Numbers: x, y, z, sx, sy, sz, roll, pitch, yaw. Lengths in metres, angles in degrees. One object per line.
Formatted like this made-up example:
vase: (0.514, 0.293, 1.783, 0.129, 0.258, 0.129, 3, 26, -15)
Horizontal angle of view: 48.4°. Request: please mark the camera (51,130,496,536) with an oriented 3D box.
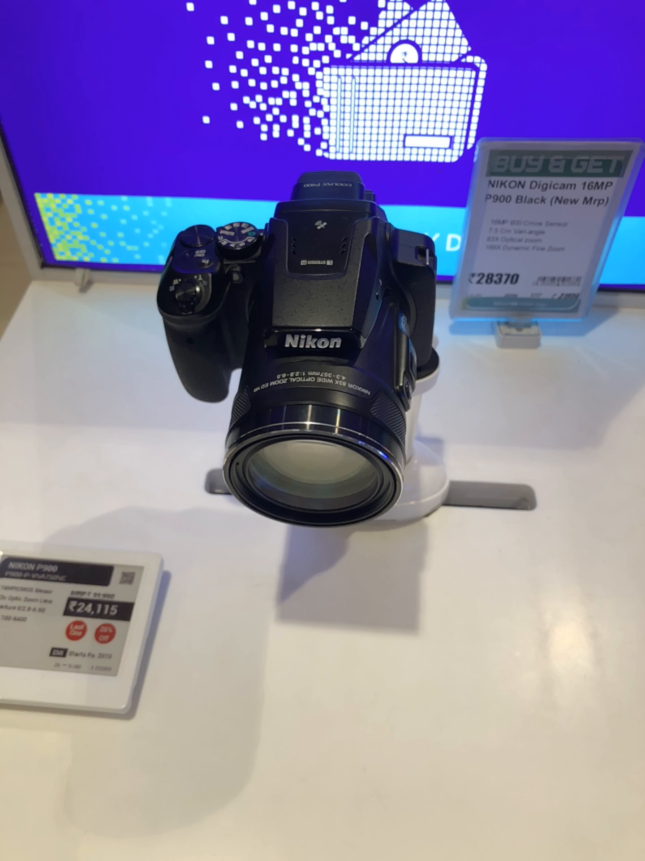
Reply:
camera: (-0.013, -0.045, 0.309, 0.140, 0.099, 0.141, 3, 48, 1)
